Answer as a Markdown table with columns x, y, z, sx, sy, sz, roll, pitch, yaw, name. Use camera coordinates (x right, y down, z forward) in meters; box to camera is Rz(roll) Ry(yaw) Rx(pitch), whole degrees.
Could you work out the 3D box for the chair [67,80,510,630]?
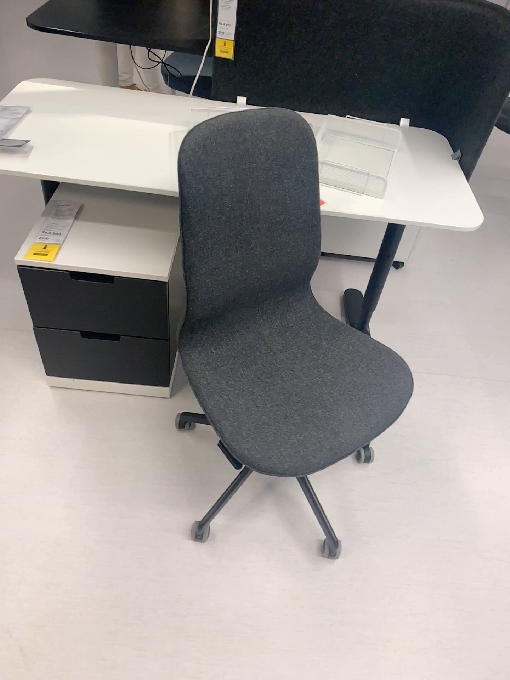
| x | y | z | sx | sy | sz | roll | pitch | yaw | name |
| --- | --- | --- | --- | --- | --- | --- | --- | --- | --- |
| 0.064 | 0.054 | 1.255 | 0.631 | 0.996 | 0.641 | -27 | 55 | -31 | chair |
